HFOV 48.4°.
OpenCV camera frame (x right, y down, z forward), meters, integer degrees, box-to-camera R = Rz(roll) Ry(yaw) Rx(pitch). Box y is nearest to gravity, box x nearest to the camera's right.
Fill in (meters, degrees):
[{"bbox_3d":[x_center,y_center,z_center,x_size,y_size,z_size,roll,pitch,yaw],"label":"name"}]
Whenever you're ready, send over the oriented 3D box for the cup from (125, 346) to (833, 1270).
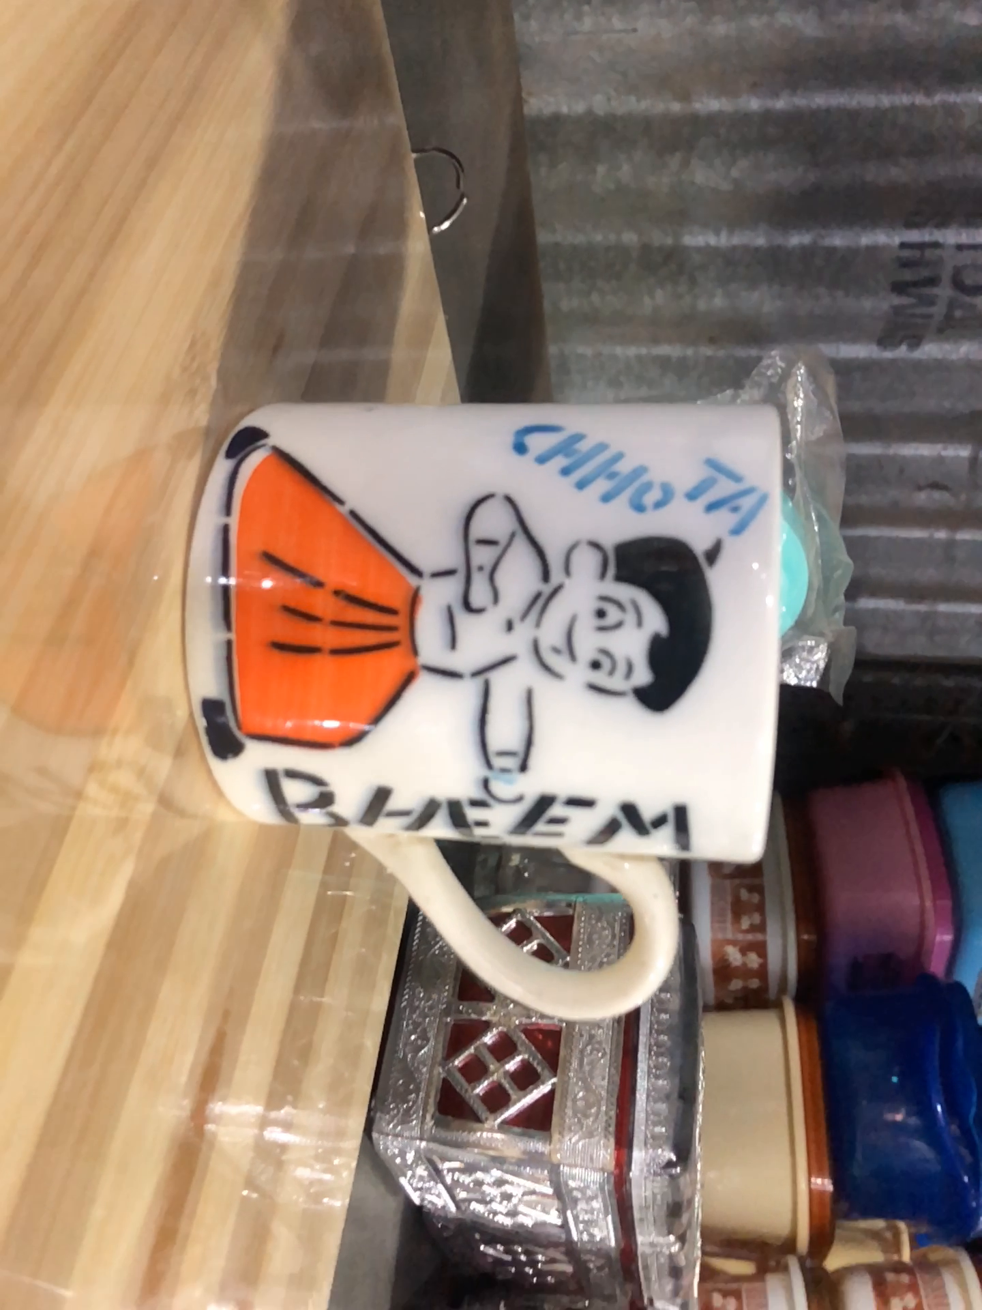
[{"bbox_3d":[0.007,0.012,0.186,0.100,0.080,0.120,-61,151,-70],"label":"cup"}]
